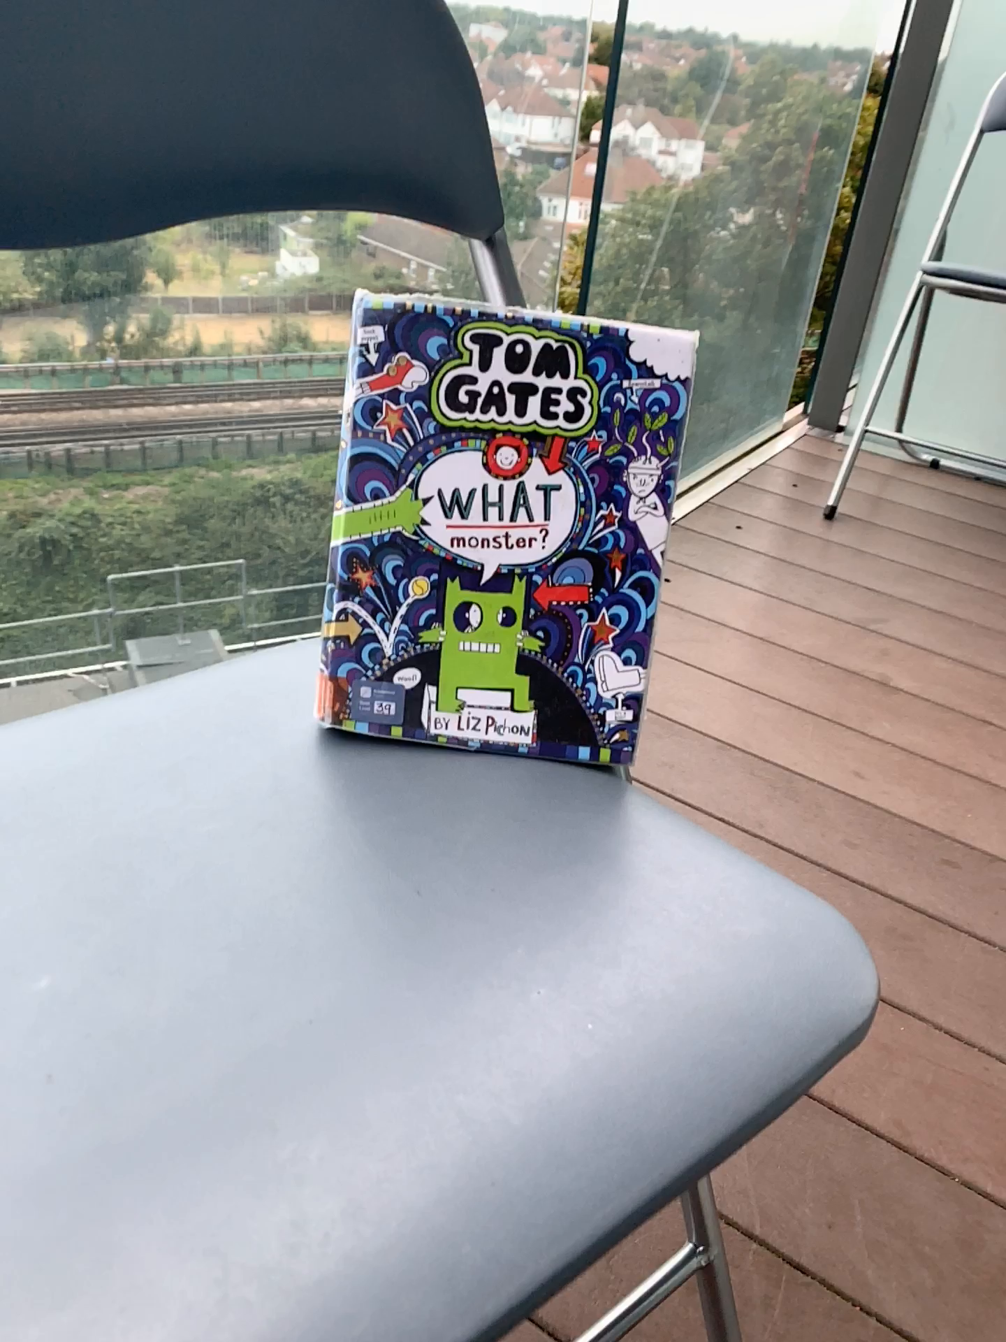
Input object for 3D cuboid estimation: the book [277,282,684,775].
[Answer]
[{"bbox_3d":[-0.013,-0.064,0.479,0.160,0.199,0.050,6,11,0],"label":"book"}]
